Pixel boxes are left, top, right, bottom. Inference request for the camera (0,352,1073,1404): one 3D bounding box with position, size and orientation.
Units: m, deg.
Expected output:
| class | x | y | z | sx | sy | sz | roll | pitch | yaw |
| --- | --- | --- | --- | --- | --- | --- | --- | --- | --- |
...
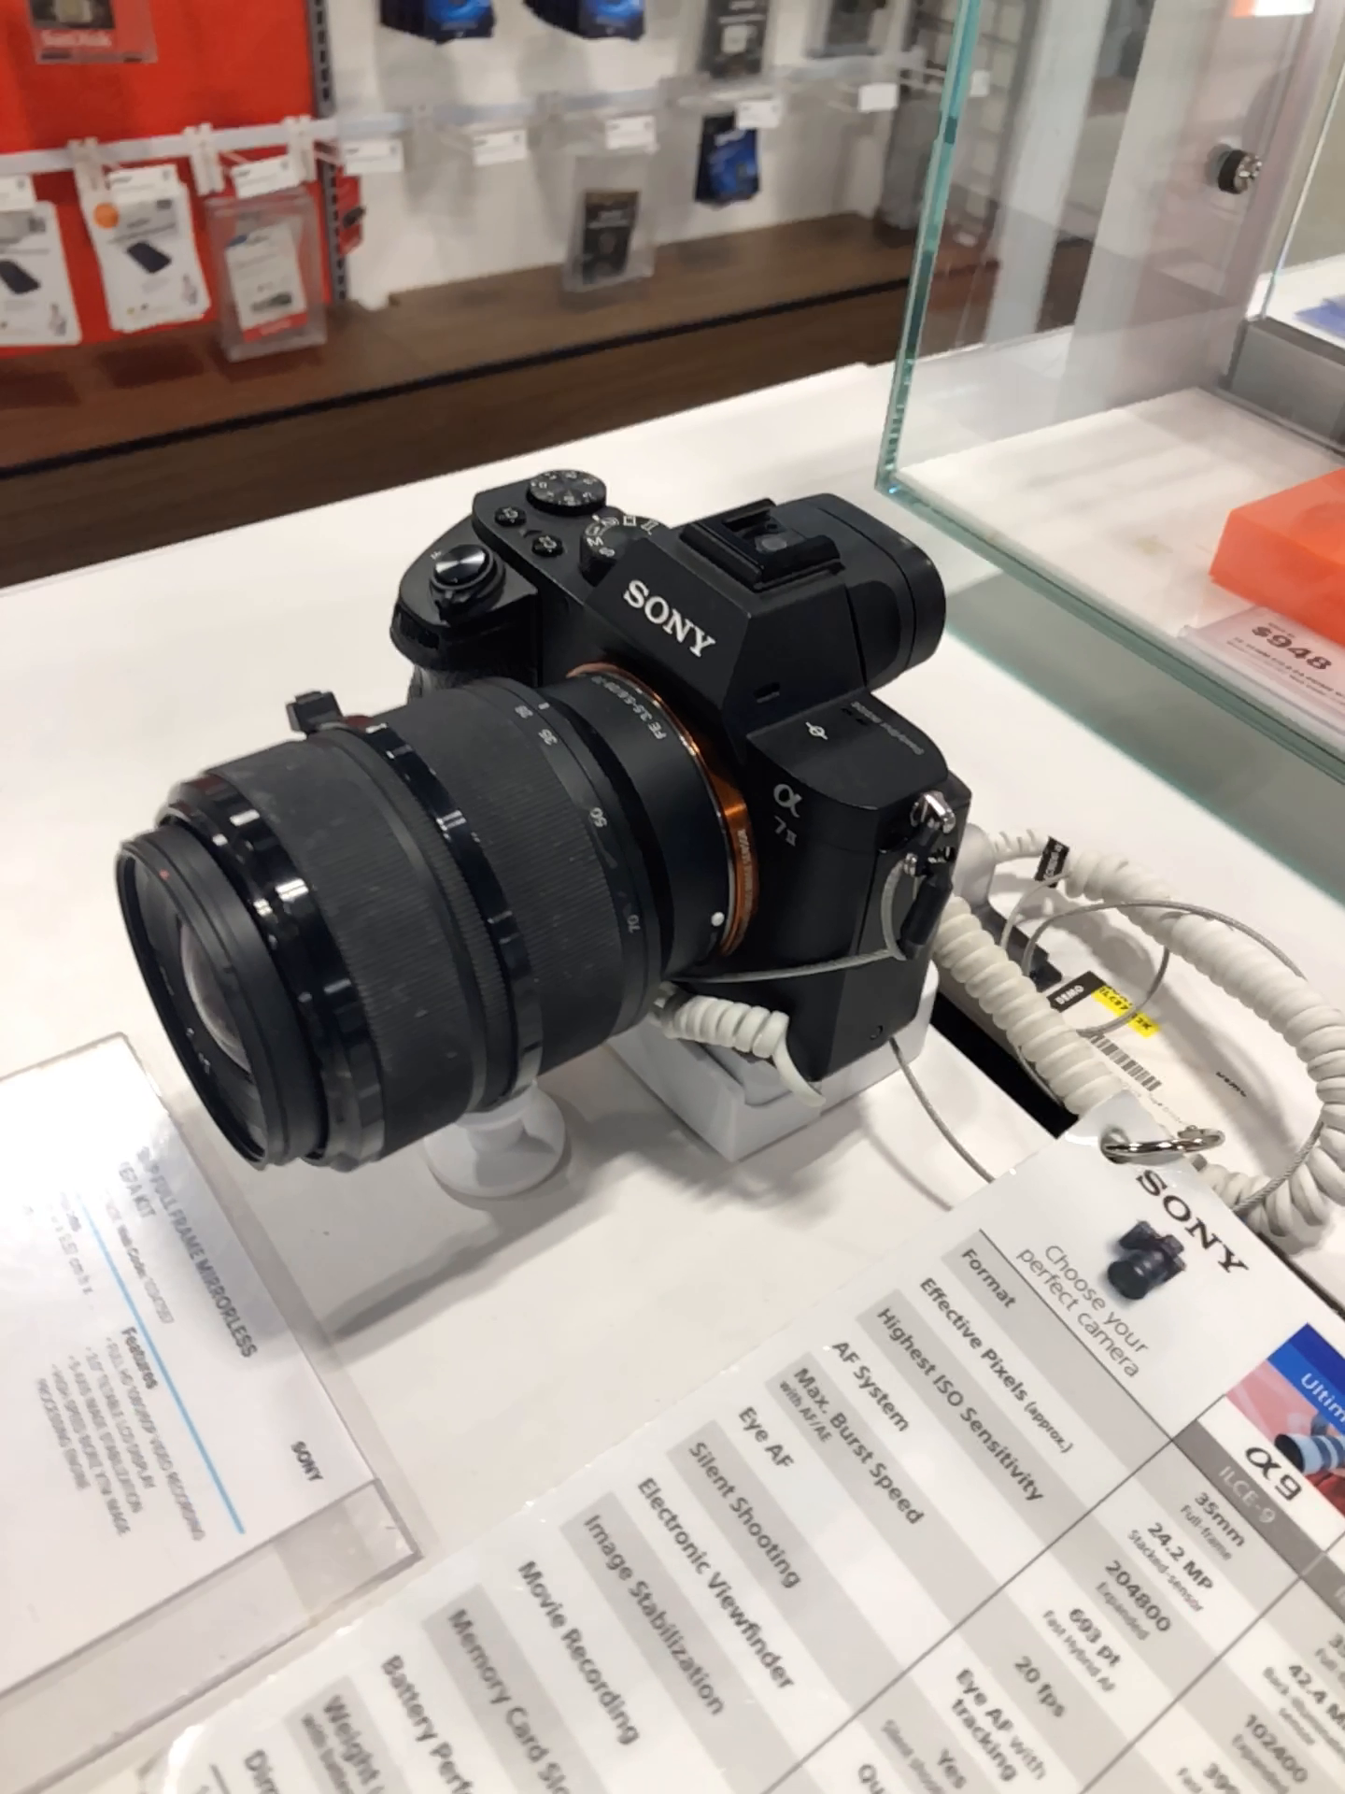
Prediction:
| class | x | y | z | sx | sy | sz | roll | pitch | yaw |
| --- | --- | --- | --- | --- | --- | --- | --- | --- | --- |
| camera | -0.034 | -0.018 | 0.268 | 0.140 | 0.089 | 0.131 | -25 | 49 | -30 |
